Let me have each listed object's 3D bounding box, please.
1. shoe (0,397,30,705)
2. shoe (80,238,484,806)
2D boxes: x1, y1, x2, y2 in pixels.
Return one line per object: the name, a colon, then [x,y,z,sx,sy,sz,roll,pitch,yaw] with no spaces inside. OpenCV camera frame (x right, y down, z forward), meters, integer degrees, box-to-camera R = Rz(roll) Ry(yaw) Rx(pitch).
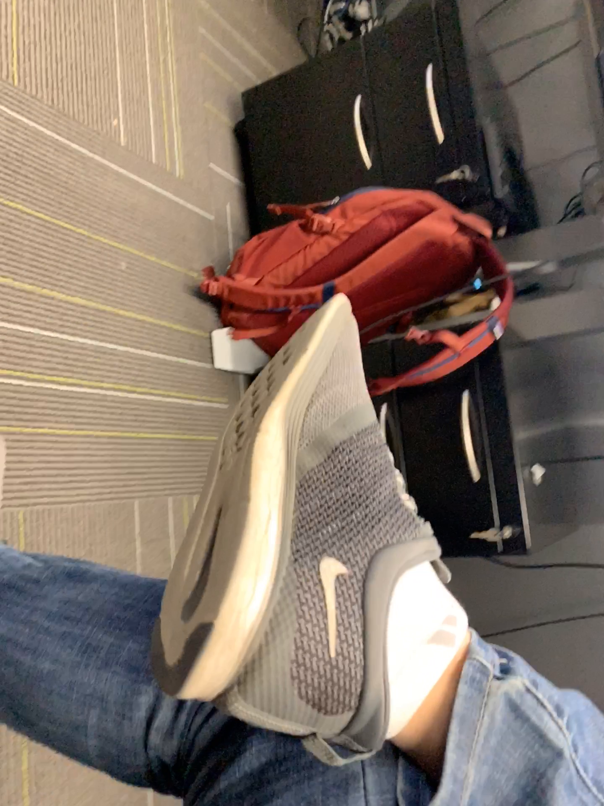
shoe: [-0.404,0.154,0.662,0.117,0.074,0.293,38,50,-49]
shoe: [0.014,0.054,0.377,0.142,0.115,0.295,30,44,-12]
